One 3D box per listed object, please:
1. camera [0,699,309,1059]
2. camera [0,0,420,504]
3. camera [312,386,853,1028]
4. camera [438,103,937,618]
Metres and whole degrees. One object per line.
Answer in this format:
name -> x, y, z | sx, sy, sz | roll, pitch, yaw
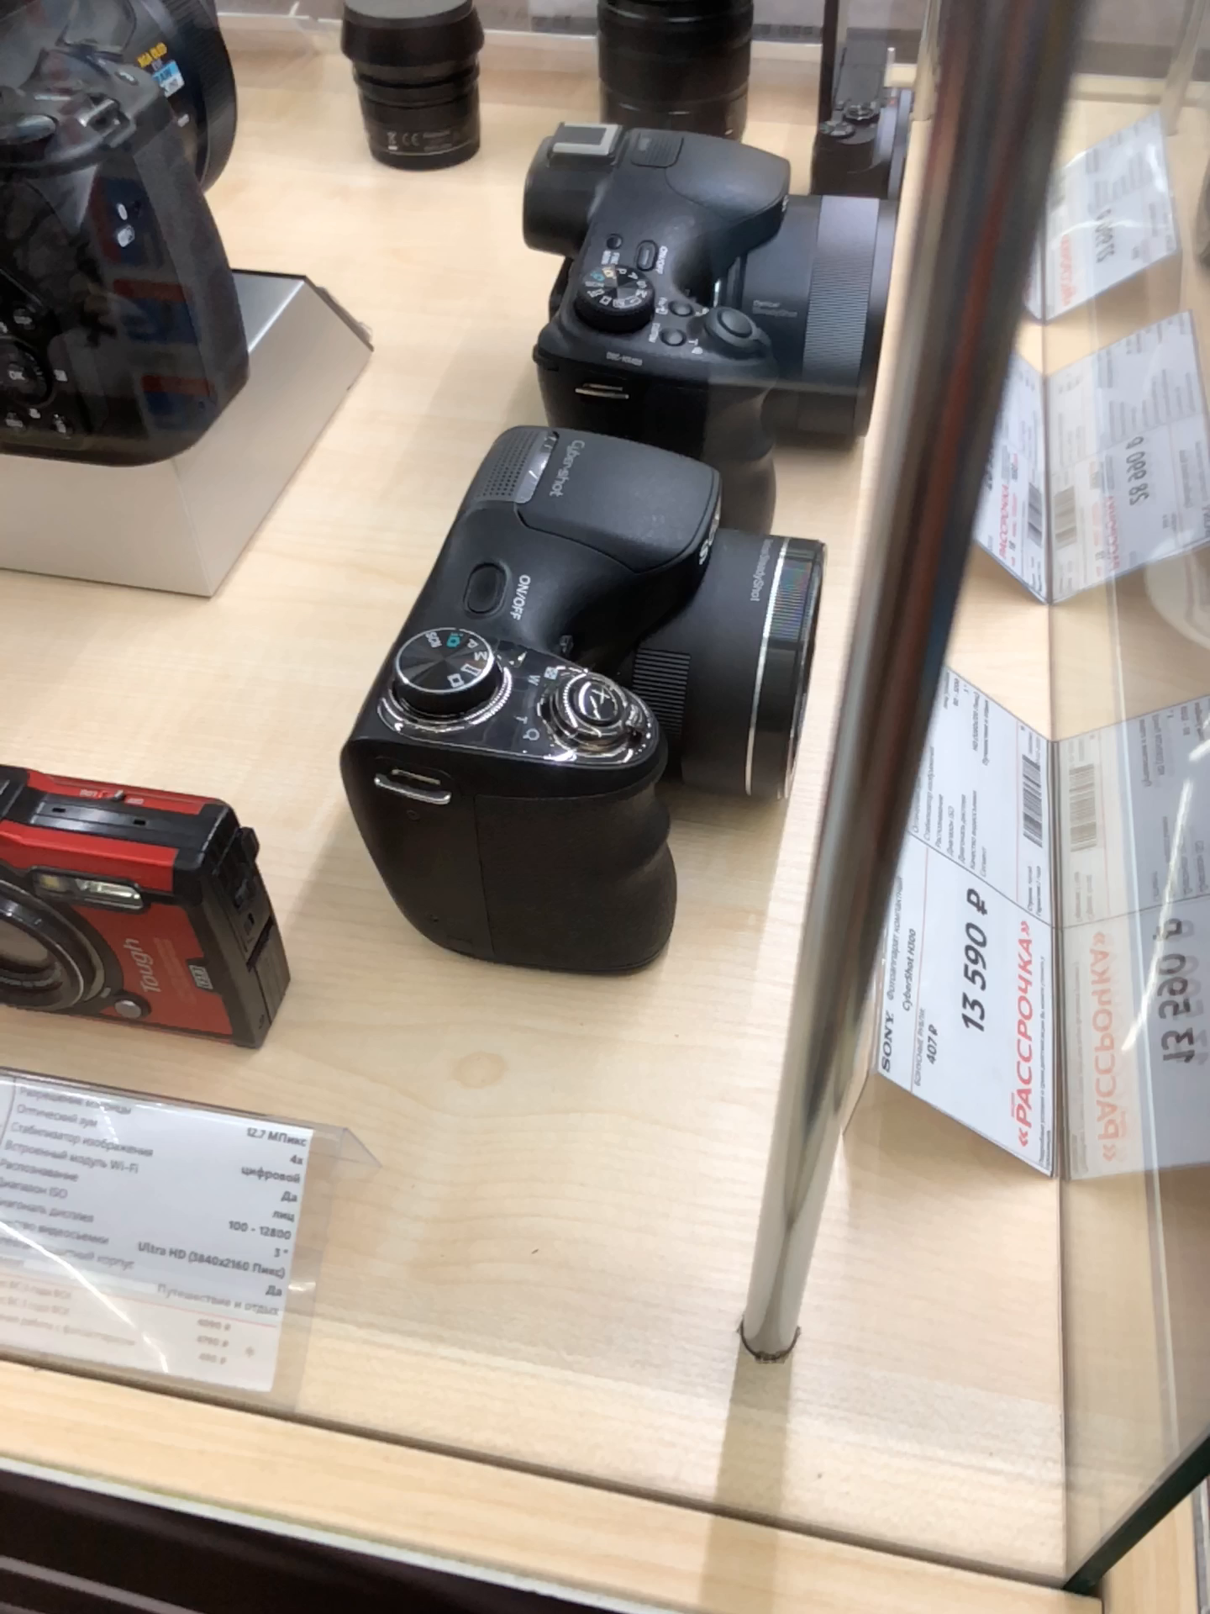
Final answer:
camera -> -0.127, 0.017, 0.289 | 0.111, 0.069, 0.026 | 7, 48, 8
camera -> -0.142, -0.178, 0.348 | 0.132, 0.106, 0.169 | 7, 48, 8
camera -> 0.003, -0.029, 0.320 | 0.091, 0.078, 0.124 | 9, 49, 9
camera -> 0.031, -0.145, 0.426 | 0.125, 0.097, 0.124 | 9, 49, 10
